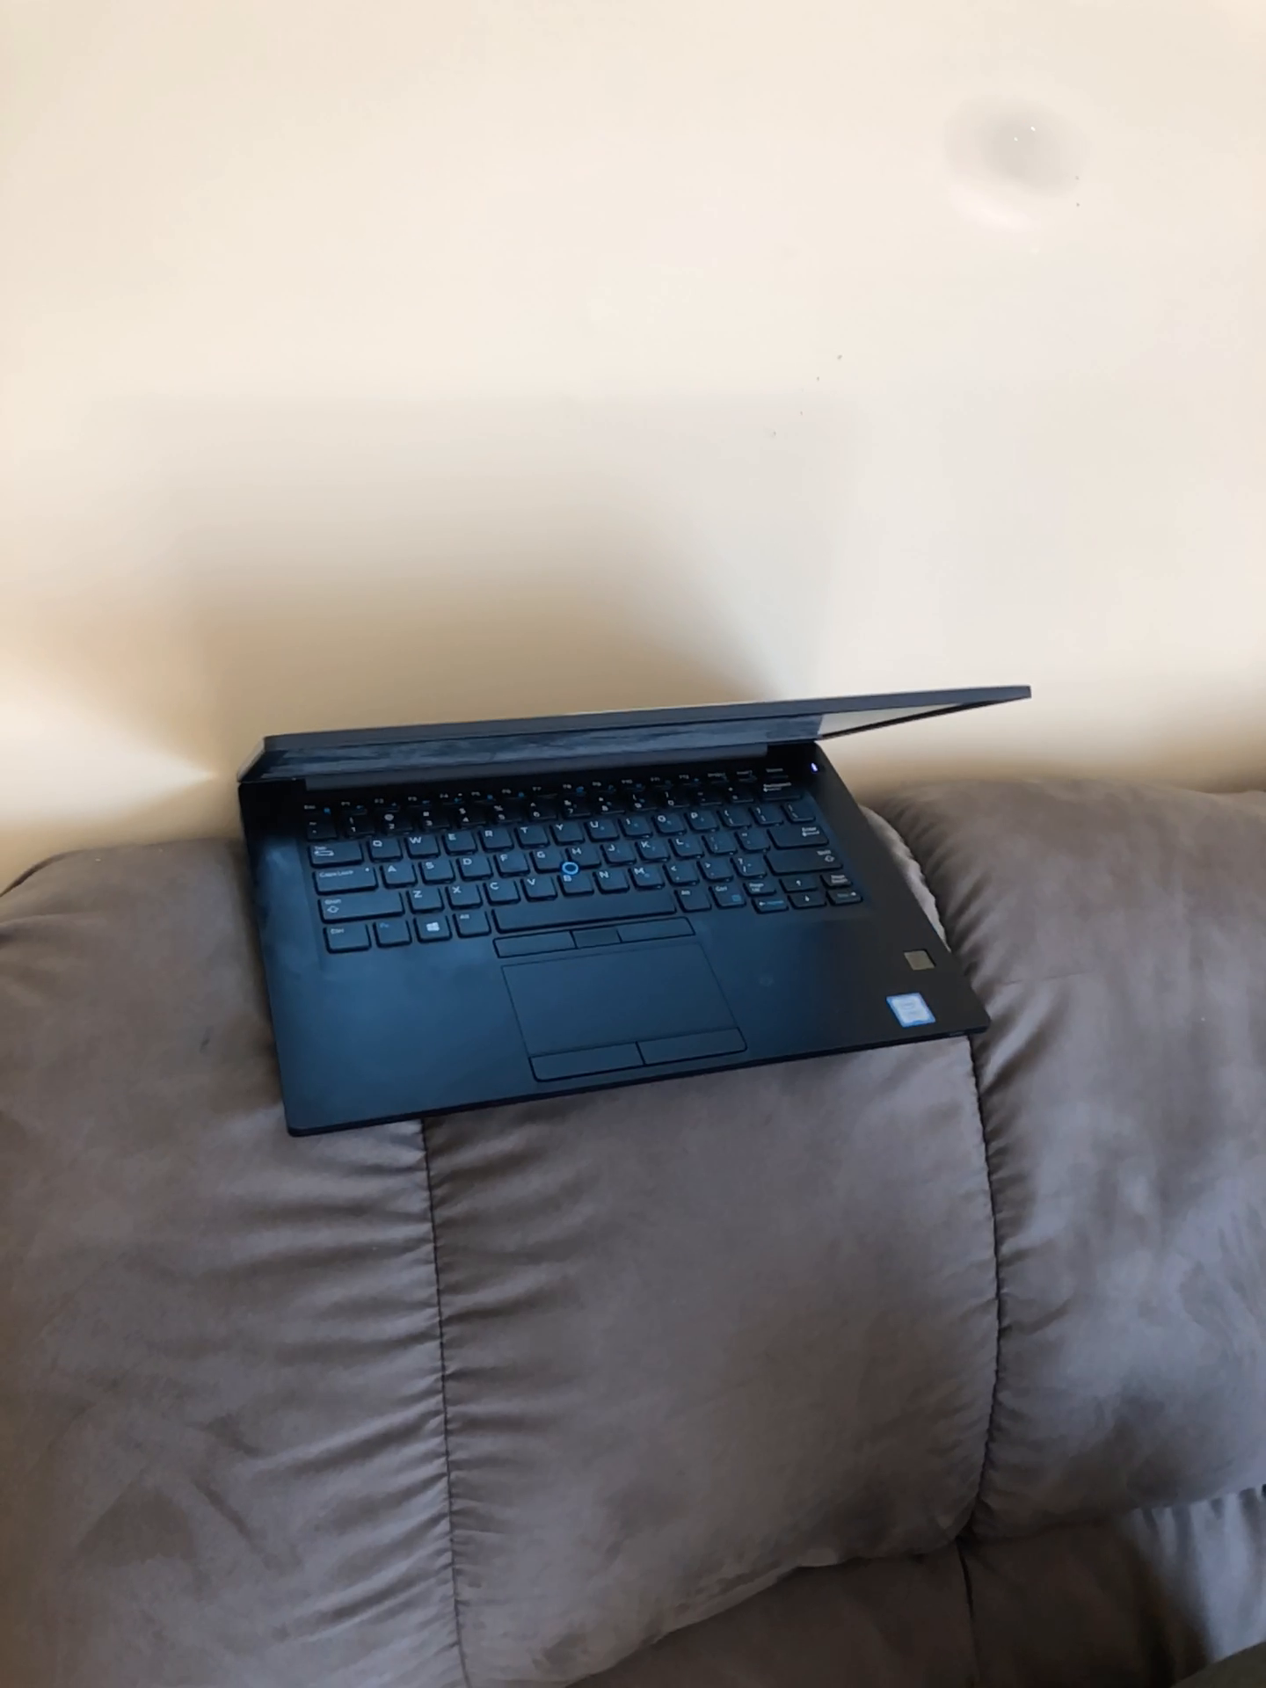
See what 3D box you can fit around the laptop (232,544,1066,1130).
[{"bbox_3d":[-0.008,-0.022,0.647,0.321,0.128,0.214,-5,42,-19],"label":"laptop"}]
